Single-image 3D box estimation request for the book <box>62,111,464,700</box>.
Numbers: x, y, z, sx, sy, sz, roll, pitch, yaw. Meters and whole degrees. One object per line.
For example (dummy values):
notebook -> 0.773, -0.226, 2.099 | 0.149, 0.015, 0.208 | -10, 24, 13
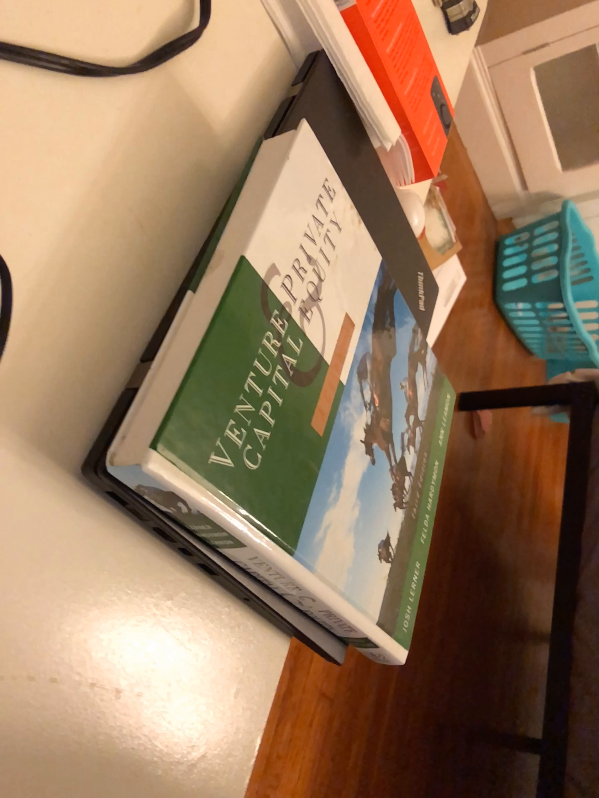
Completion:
book -> 0.021, 0.019, 0.383 | 0.271, 0.030, 0.221 | 49, 47, -41
